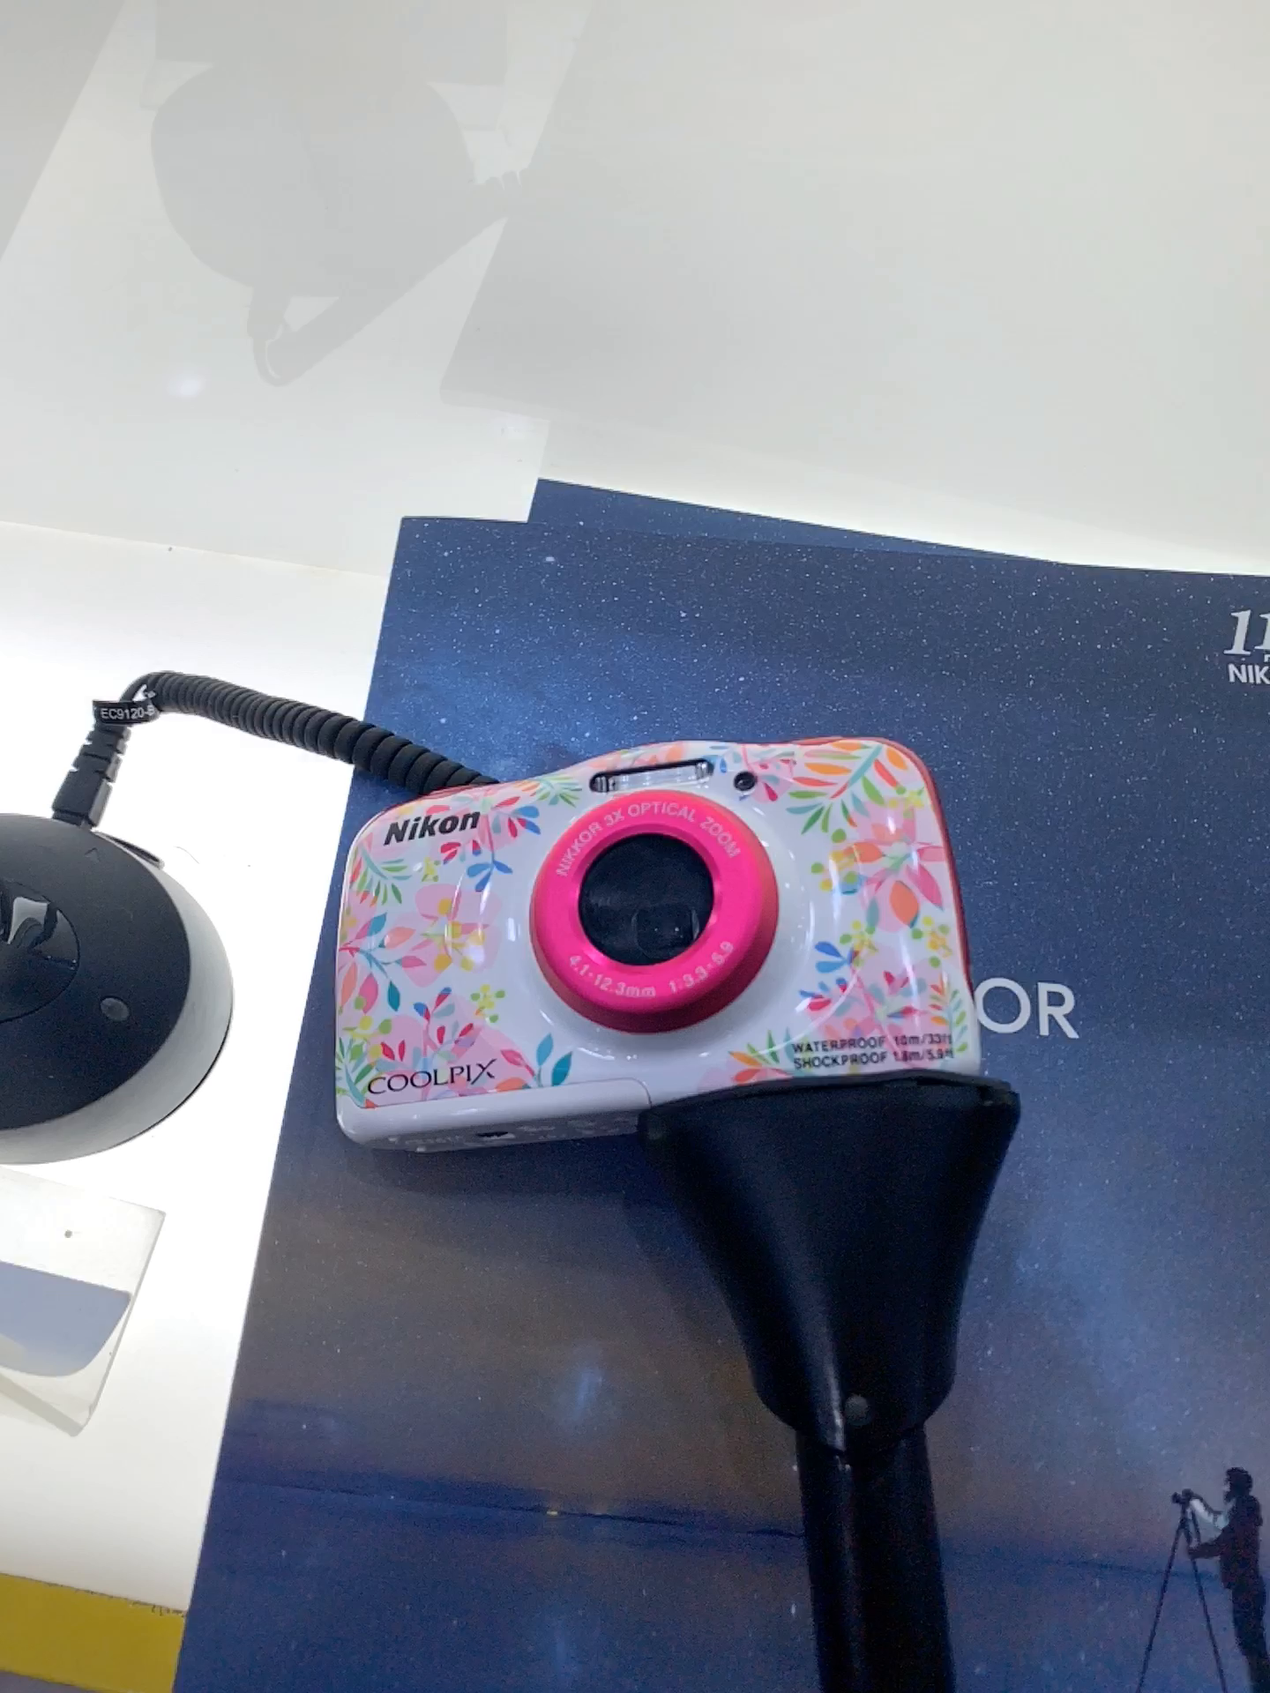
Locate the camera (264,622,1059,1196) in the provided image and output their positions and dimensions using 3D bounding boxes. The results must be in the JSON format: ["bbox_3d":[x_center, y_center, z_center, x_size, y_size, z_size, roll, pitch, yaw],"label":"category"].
[{"bbox_3d":[0.002,0.009,0.218,0.110,0.040,0.080,-3,59,-1],"label":"camera"}]
